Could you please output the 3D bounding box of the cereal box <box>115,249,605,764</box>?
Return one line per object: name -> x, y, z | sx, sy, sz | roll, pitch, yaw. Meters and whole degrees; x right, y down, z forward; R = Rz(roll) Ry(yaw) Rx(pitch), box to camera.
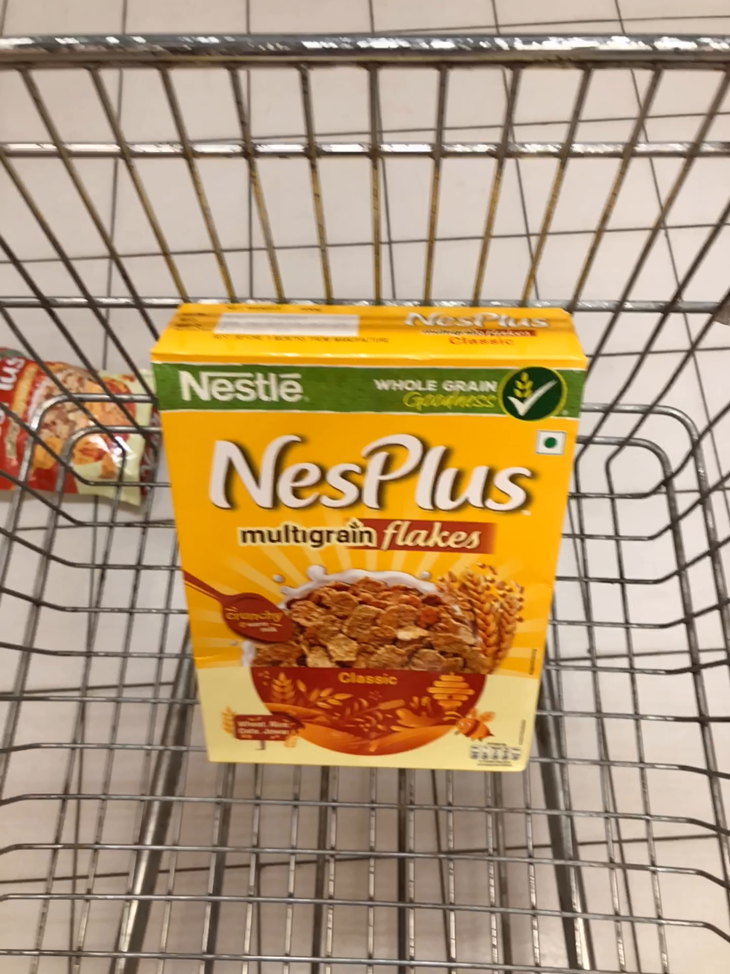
cereal box -> -0.002, 0.017, 0.415 | 0.190, 0.249, 0.090 | 1, 30, 1
